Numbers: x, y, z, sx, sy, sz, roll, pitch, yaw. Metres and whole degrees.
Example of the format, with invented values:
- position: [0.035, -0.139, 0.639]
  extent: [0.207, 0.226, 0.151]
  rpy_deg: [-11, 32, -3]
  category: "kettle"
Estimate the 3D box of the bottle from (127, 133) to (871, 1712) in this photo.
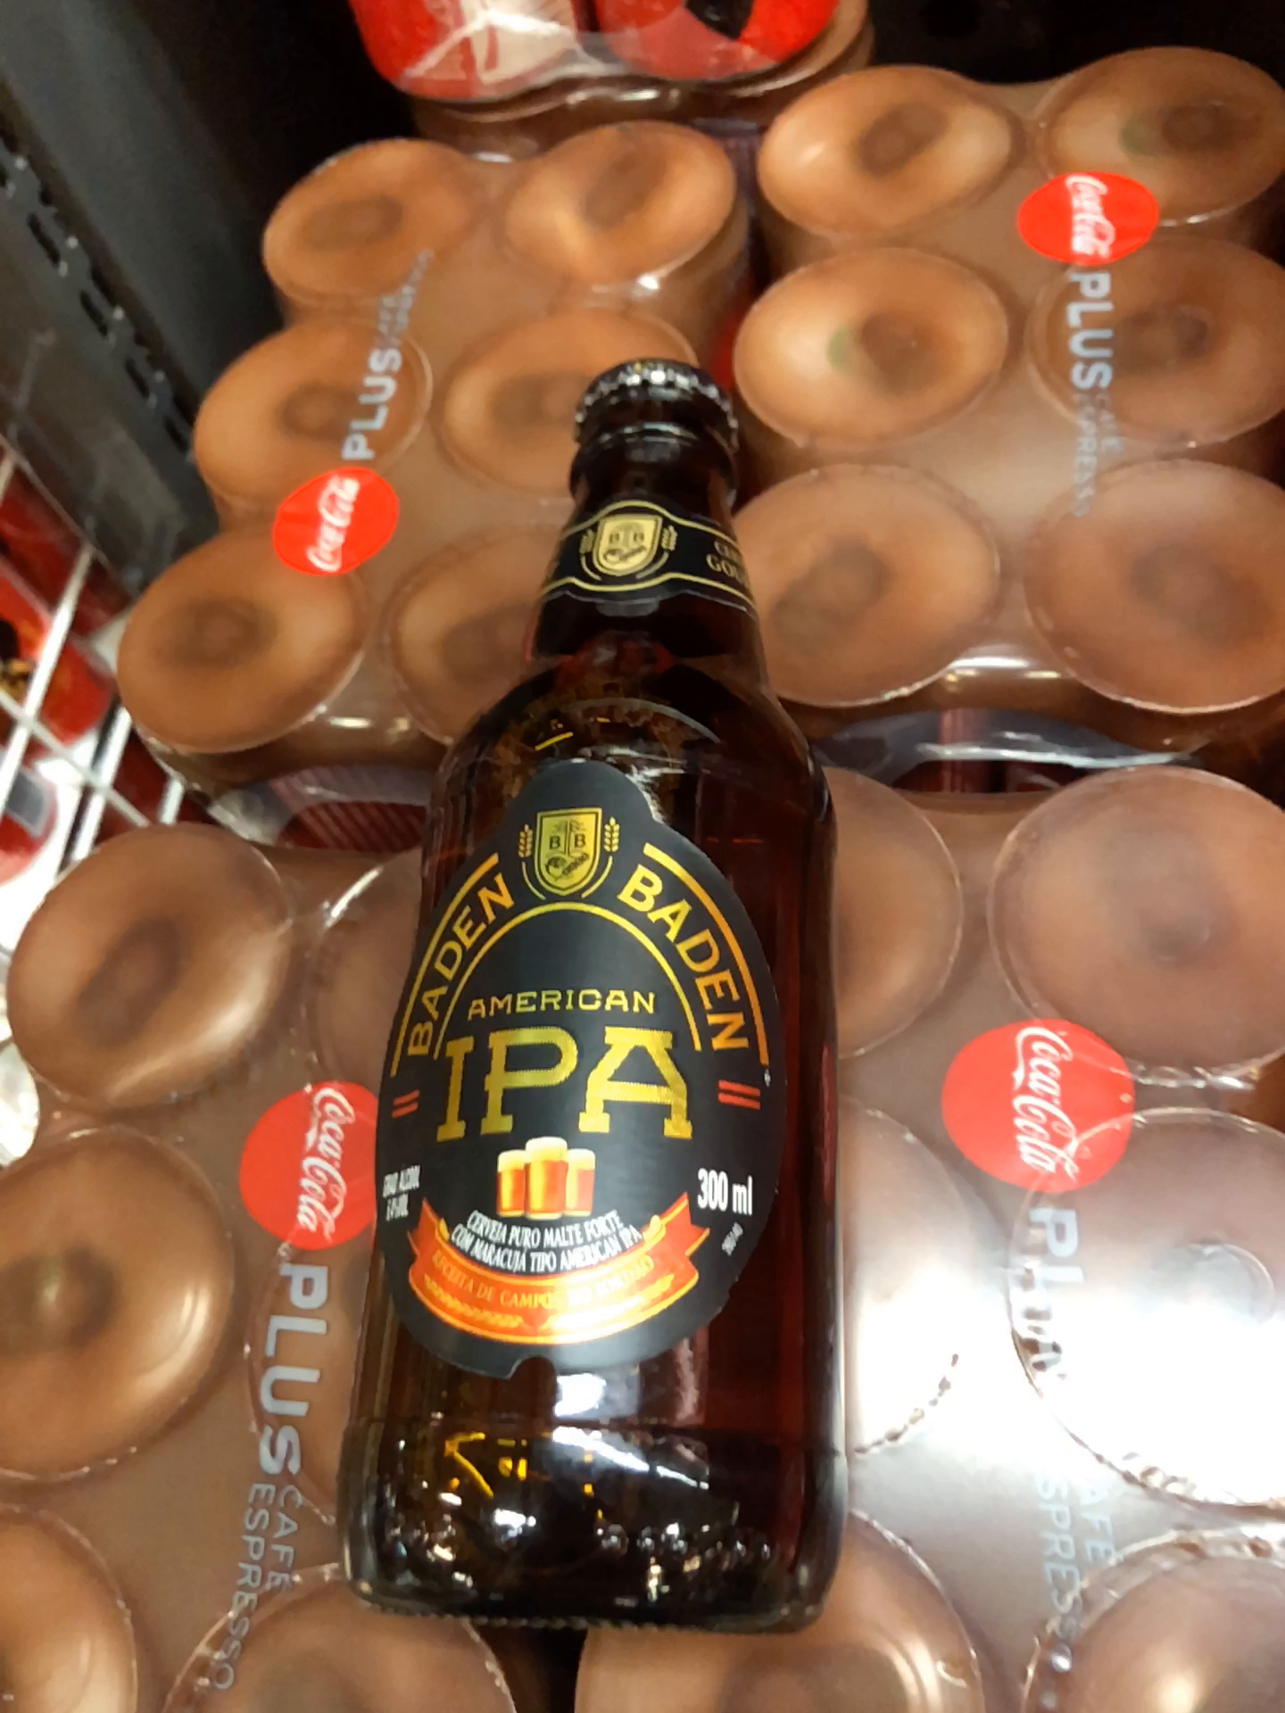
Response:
- position: [-0.007, -0.005, 0.204]
  extent: [0.070, 0.050, 0.211]
  rpy_deg: [-2, 63, 10]
  category: "bottle"
